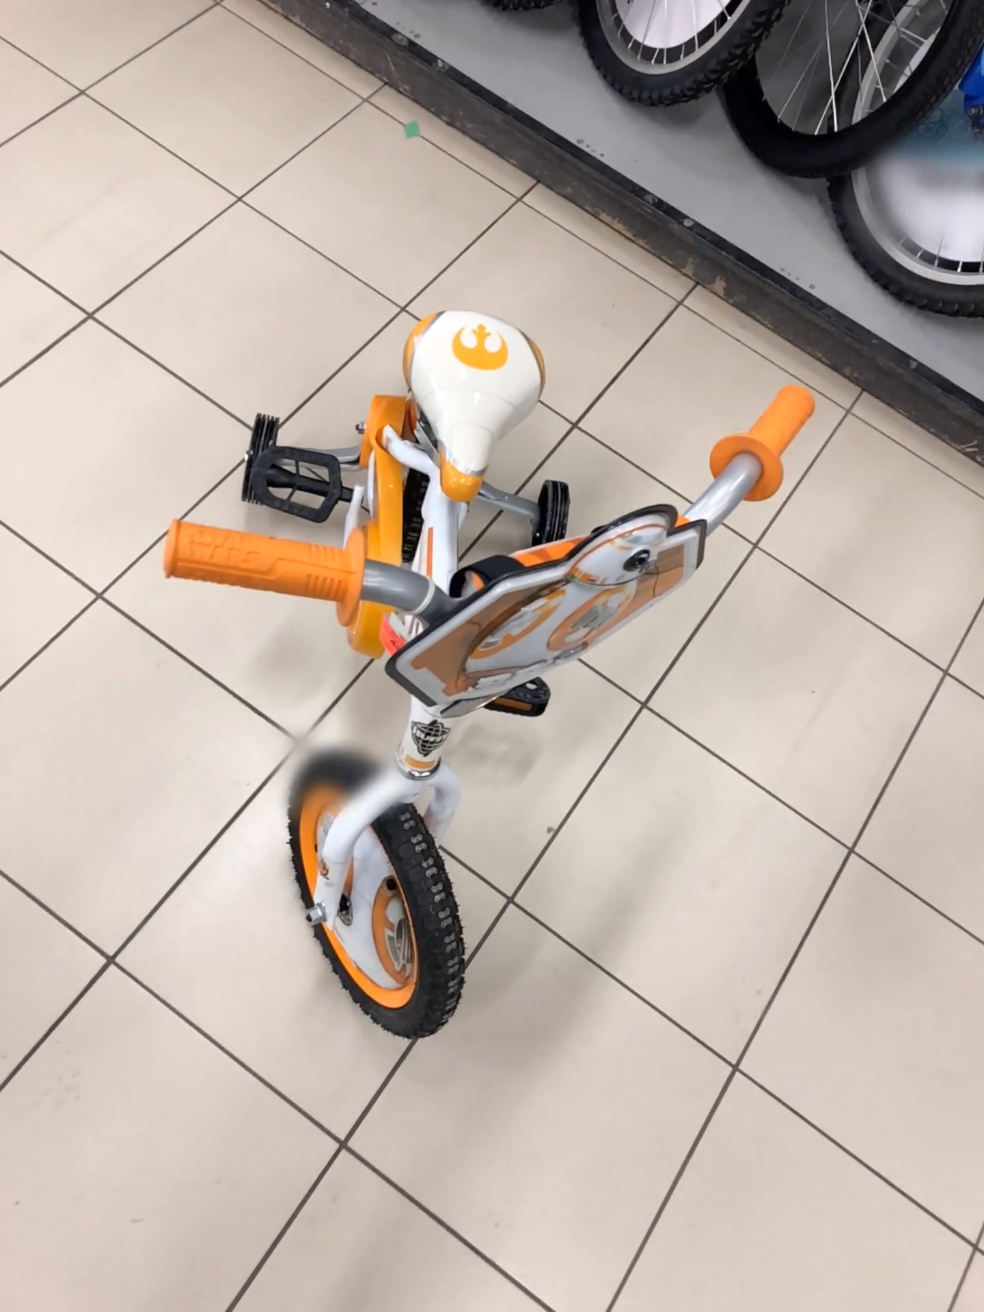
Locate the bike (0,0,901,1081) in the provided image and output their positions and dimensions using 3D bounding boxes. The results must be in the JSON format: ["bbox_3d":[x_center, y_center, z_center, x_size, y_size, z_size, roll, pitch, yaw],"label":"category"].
[{"bbox_3d":[-0.062,-0.100,0.984,0.435,0.715,0.816,3,66,-9],"label":"bike"}]
